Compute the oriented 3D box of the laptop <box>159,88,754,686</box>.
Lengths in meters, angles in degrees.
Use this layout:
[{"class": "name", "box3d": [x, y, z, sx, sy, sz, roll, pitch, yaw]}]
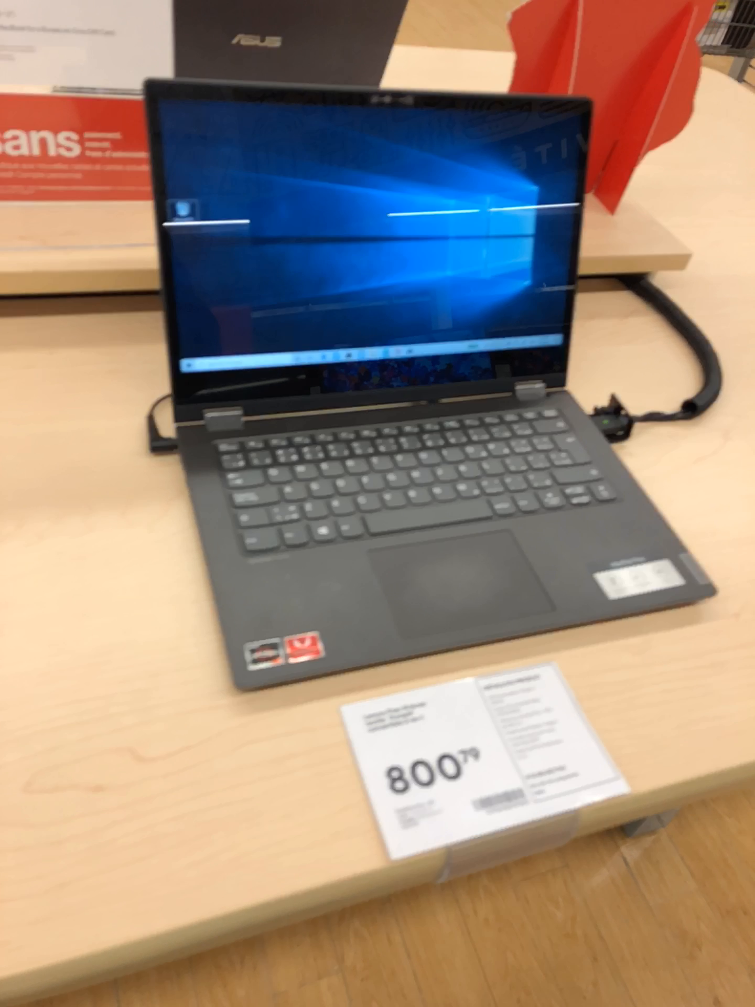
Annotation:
[{"class": "laptop", "box3d": [0.045, -0.098, 0.527, 0.319, 0.198, 0.307, -7, 47, -19]}]
